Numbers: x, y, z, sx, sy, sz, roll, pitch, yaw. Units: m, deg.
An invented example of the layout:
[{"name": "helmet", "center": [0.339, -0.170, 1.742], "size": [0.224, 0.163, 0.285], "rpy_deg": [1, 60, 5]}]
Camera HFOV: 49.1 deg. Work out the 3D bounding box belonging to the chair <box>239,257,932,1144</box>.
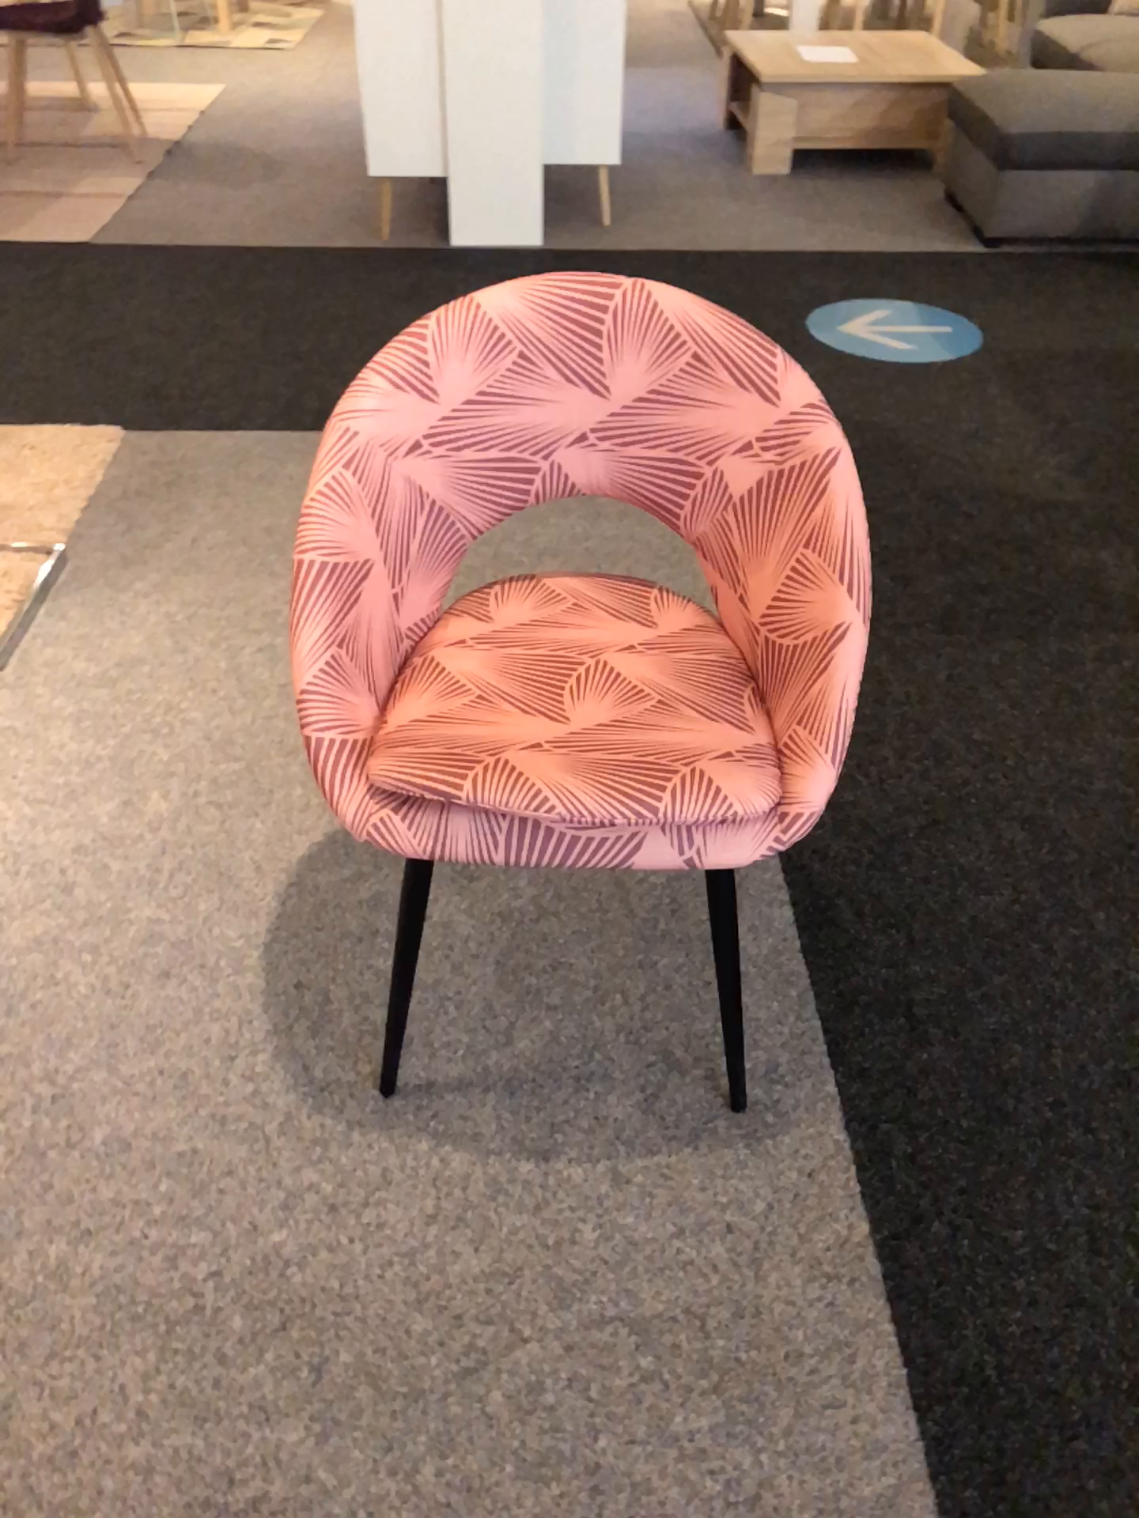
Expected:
[{"name": "chair", "center": [0.016, -0.065, 1.434], "size": [0.530, 0.795, 0.604], "rpy_deg": [2, 38, 1]}]
